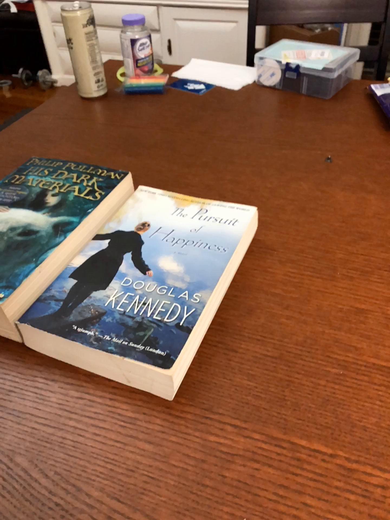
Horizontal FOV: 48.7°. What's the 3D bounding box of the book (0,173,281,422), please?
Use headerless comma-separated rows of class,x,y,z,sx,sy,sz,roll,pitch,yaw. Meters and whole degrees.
book,-0.037,0.009,0.428,0.180,0.040,0.251,14,45,19

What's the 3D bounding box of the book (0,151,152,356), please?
book,-0.189,-0.031,0.491,0.180,0.050,0.251,14,45,19
